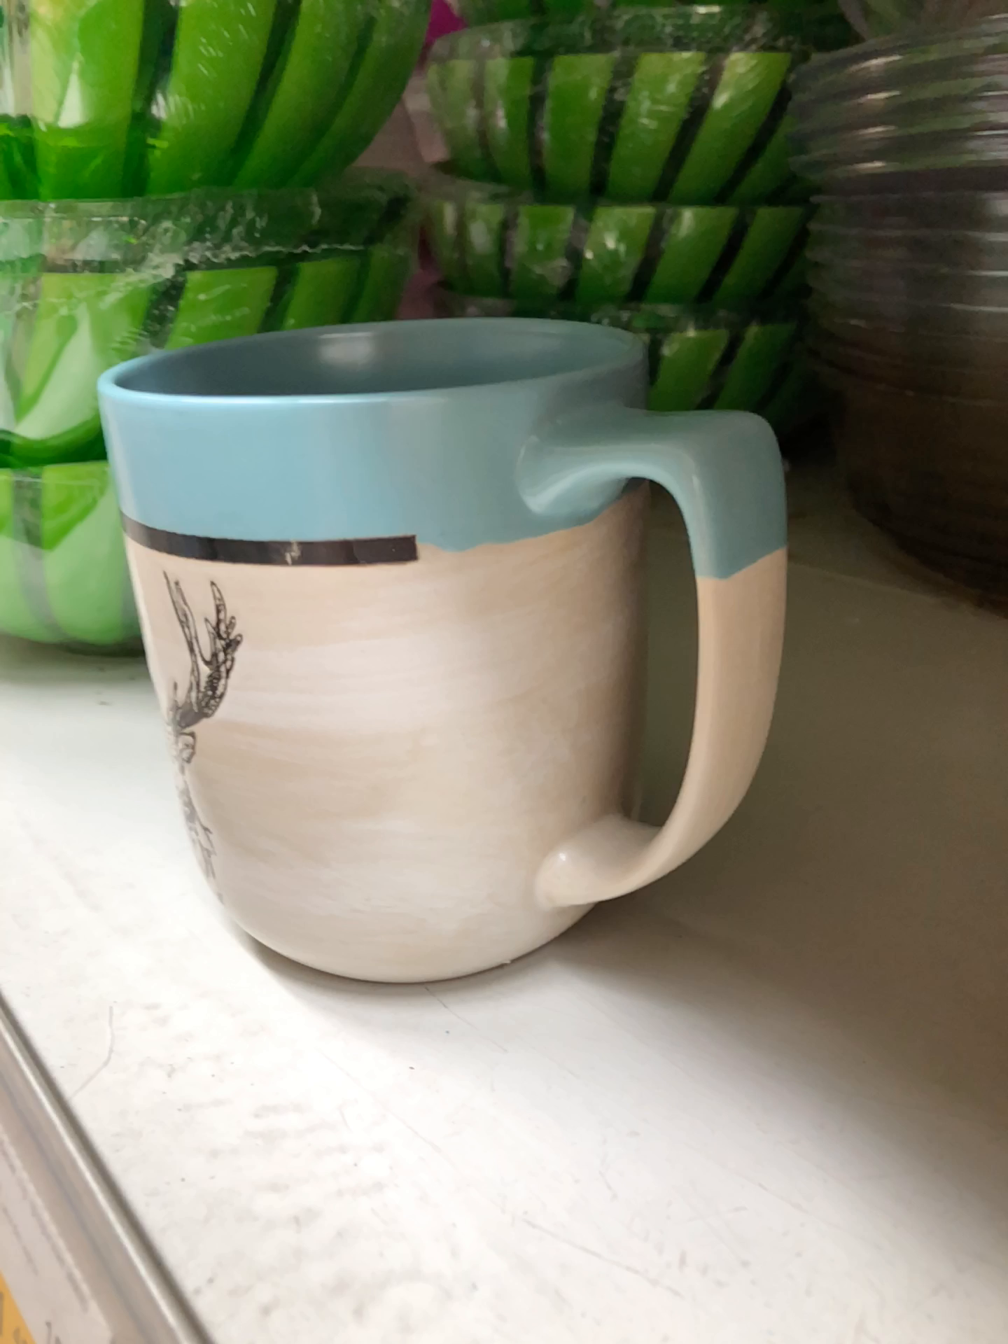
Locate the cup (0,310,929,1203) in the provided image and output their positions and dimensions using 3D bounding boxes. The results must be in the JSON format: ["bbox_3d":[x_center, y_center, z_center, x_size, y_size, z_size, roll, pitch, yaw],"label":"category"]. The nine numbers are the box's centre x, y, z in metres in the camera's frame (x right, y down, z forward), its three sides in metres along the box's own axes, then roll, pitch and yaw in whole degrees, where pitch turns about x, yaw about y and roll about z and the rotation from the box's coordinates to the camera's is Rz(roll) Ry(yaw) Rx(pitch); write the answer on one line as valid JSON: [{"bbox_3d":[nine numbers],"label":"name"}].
[{"bbox_3d":[-0.008,-0.005,0.202,0.123,0.102,0.093,17,30,39],"label":"cup"}]
